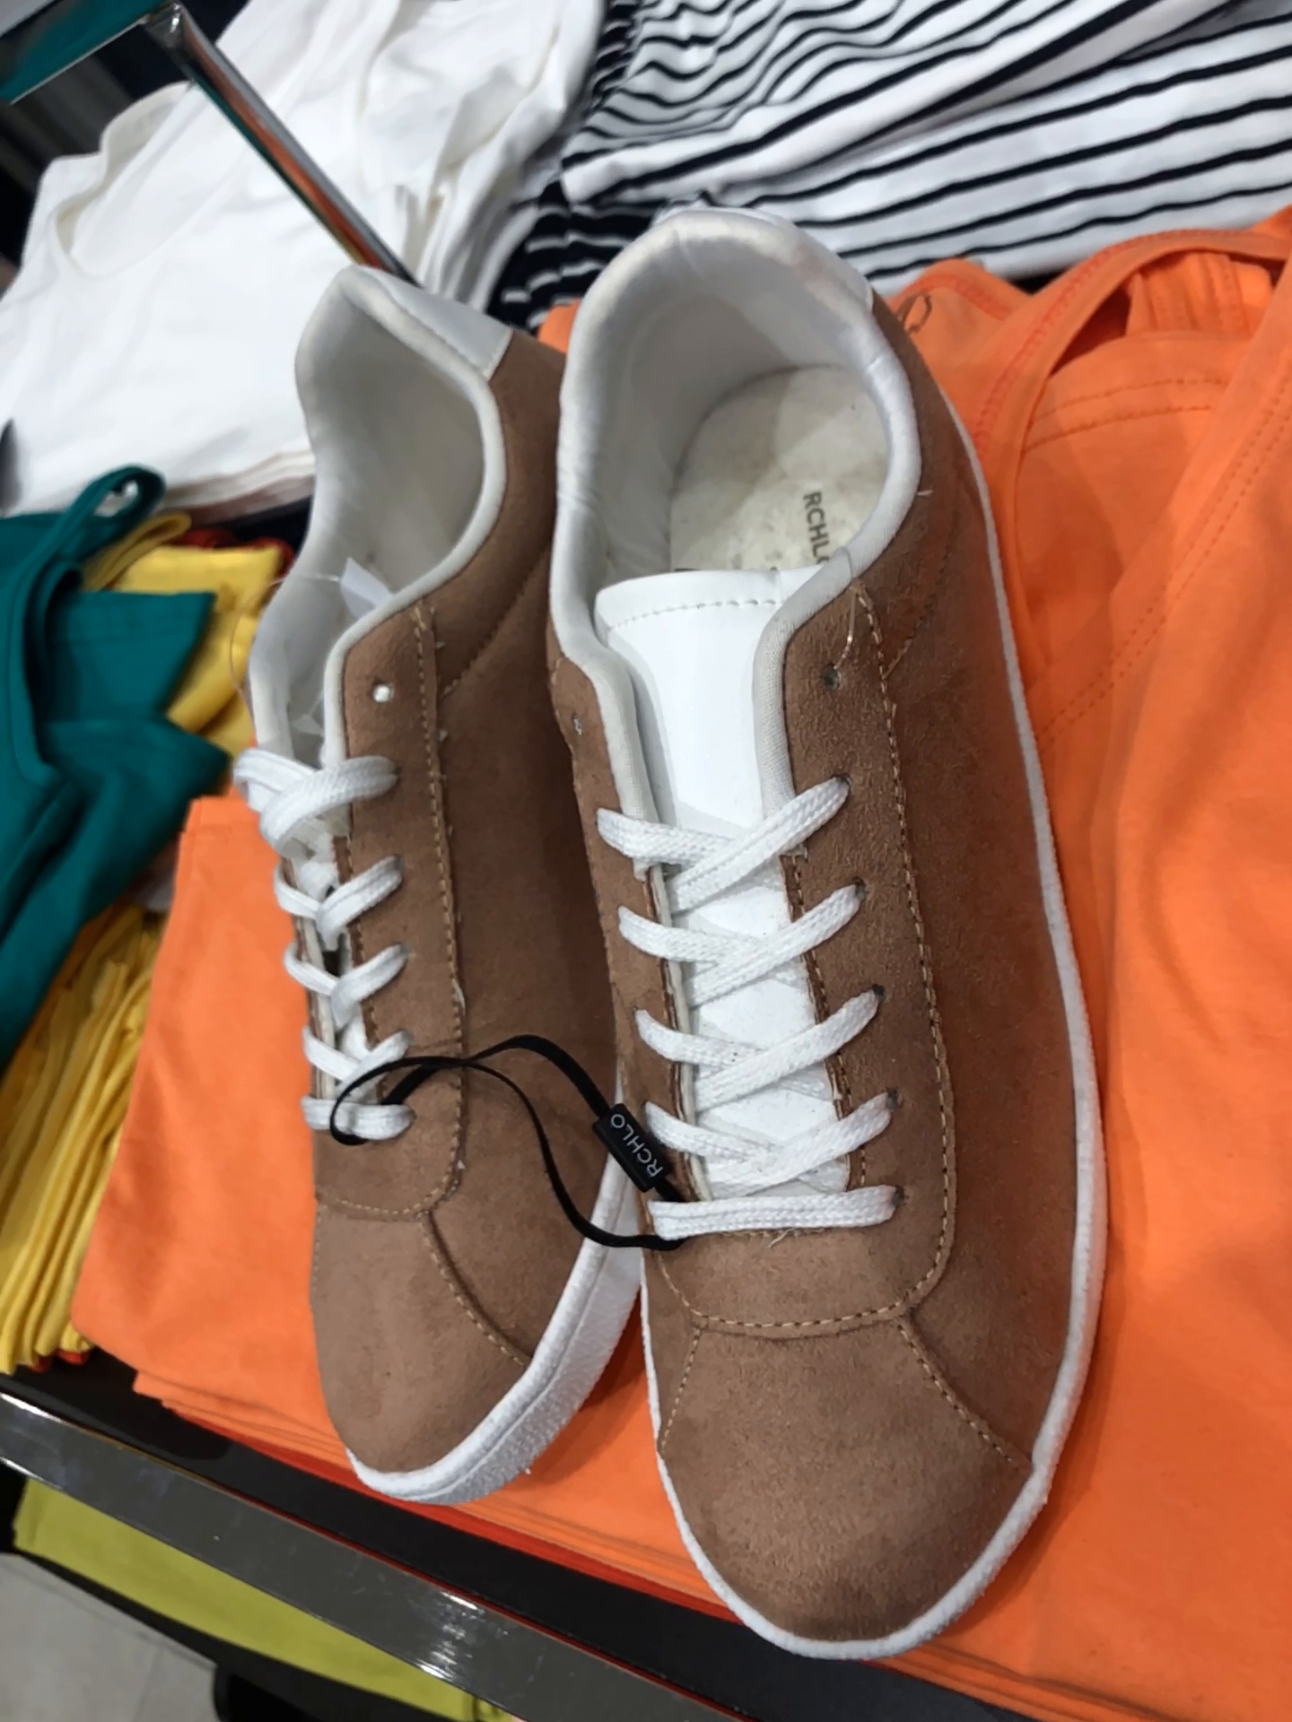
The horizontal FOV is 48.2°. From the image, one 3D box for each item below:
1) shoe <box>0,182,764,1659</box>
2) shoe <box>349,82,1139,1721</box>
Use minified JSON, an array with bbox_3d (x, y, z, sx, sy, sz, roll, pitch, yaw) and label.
[{"bbox_3d":[-0.046,0.009,0.305,0.090,0.100,0.250,-5,74,35],"label":"shoe"},{"bbox_3d":[0.023,0.011,0.267,0.090,0.100,0.251,-8,72,33],"label":"shoe"}]
